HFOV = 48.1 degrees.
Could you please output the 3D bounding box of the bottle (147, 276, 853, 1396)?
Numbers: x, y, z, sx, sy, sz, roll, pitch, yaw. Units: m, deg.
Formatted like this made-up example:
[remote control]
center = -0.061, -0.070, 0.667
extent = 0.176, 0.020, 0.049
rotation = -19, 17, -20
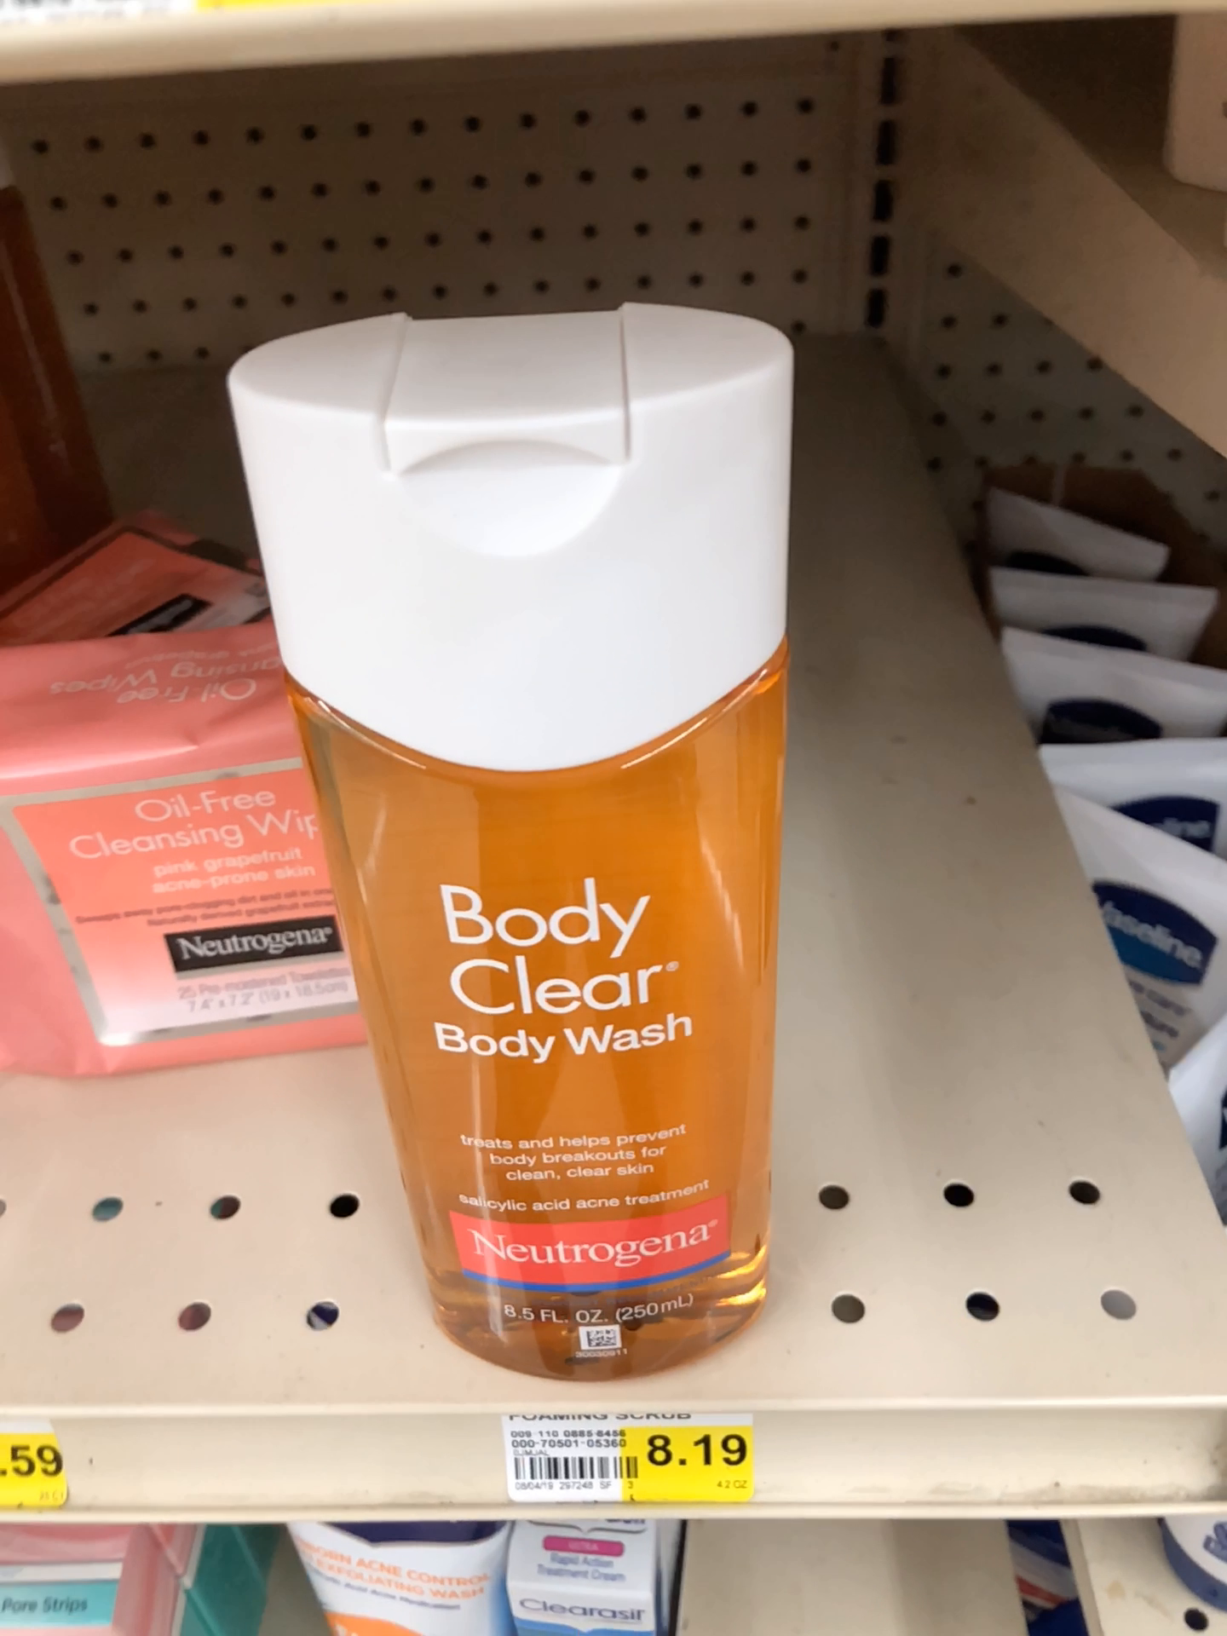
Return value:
[bottle]
center = -0.006, 0.022, 0.214
extent = 0.070, 0.190, 0.045
rotation = -2, 40, 3
